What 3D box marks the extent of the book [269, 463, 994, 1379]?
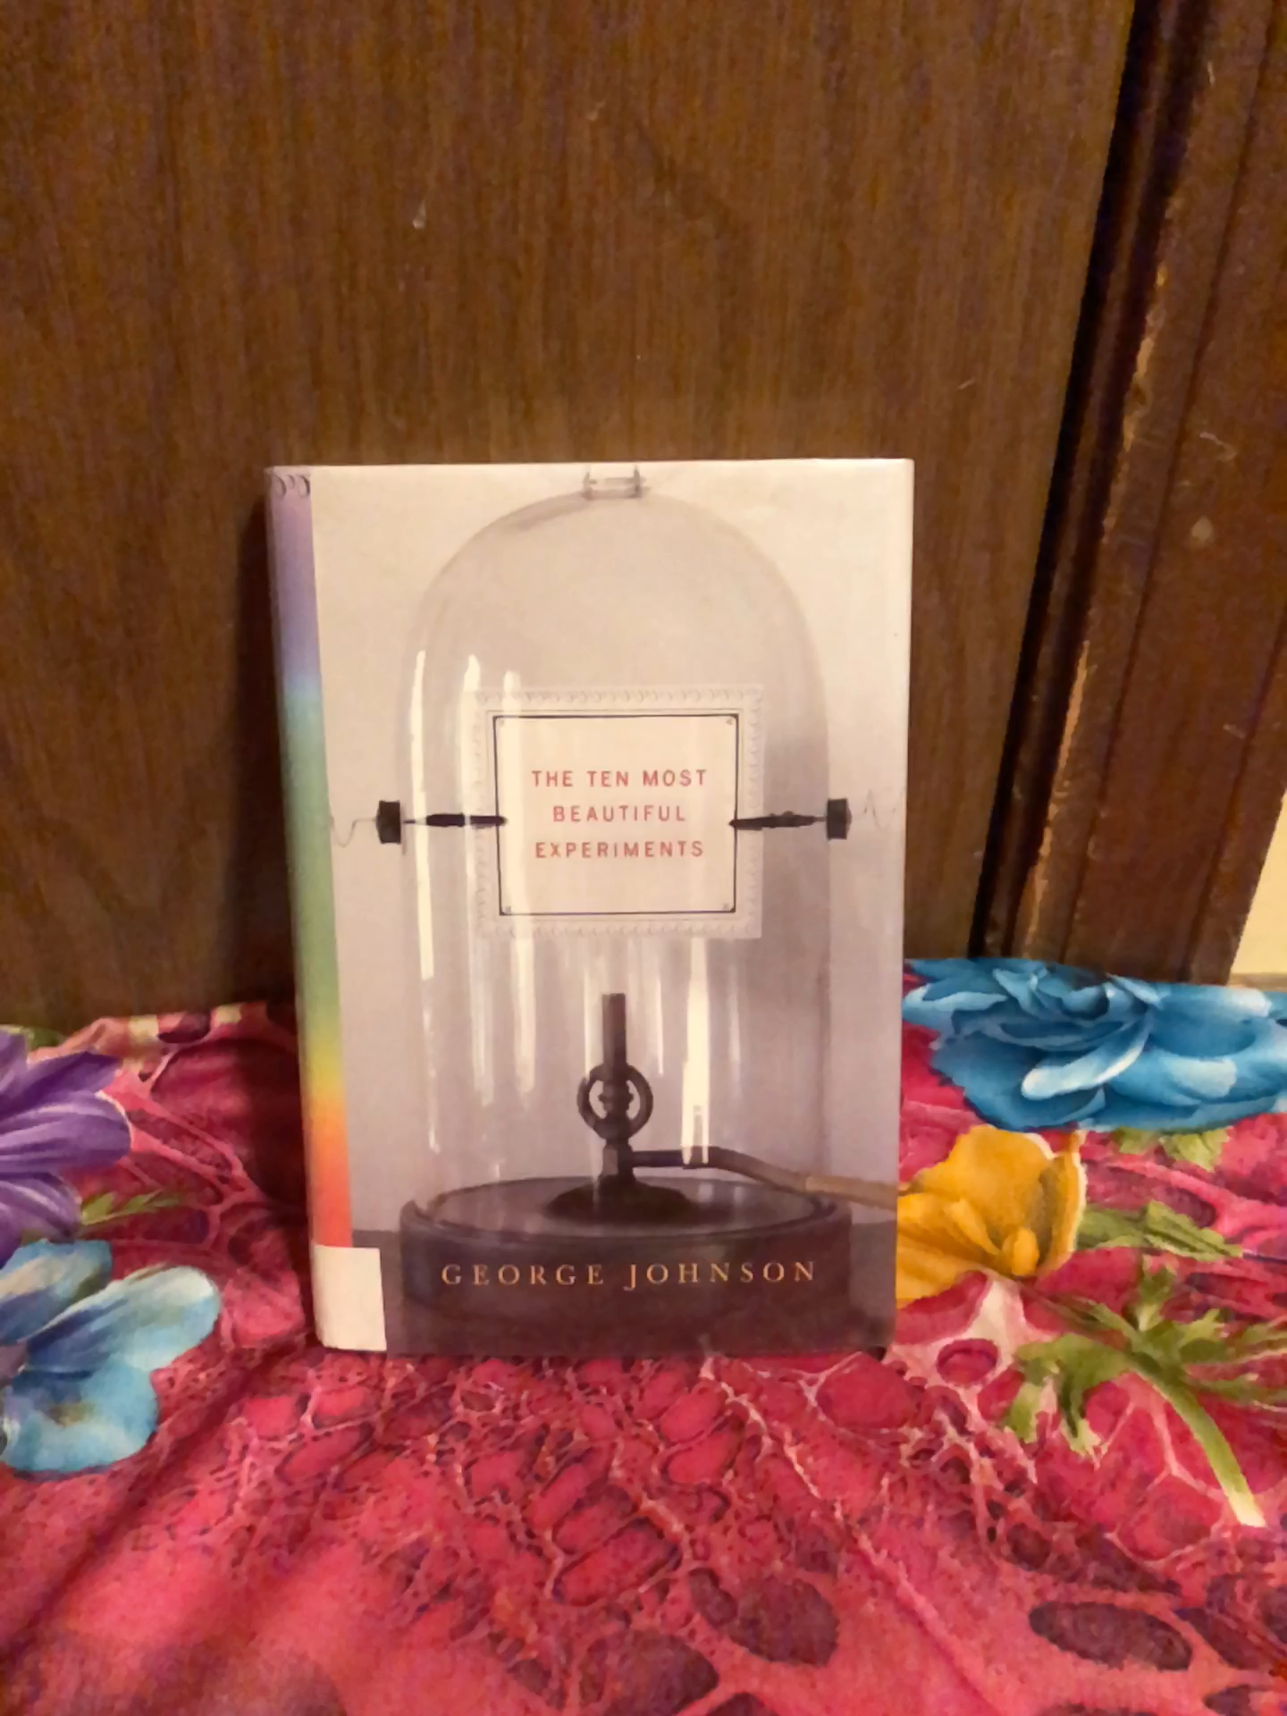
[{"bbox_3d":[-0.002,0.014,0.309,0.140,0.190,0.033,-1,10,-3],"label":"book"}]
